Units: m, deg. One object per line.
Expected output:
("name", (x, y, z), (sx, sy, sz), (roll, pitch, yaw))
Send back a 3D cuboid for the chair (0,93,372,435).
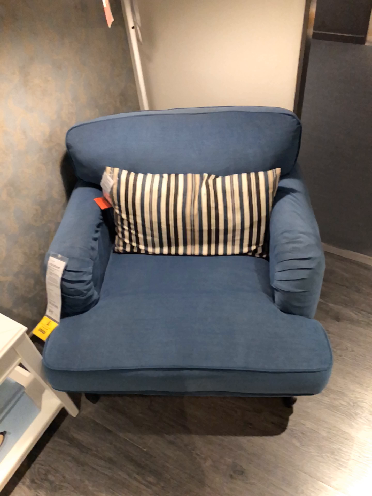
("chair", (0.015, 0.050, 1.310), (0.890, 0.696, 0.804), (-1, 47, 6))
